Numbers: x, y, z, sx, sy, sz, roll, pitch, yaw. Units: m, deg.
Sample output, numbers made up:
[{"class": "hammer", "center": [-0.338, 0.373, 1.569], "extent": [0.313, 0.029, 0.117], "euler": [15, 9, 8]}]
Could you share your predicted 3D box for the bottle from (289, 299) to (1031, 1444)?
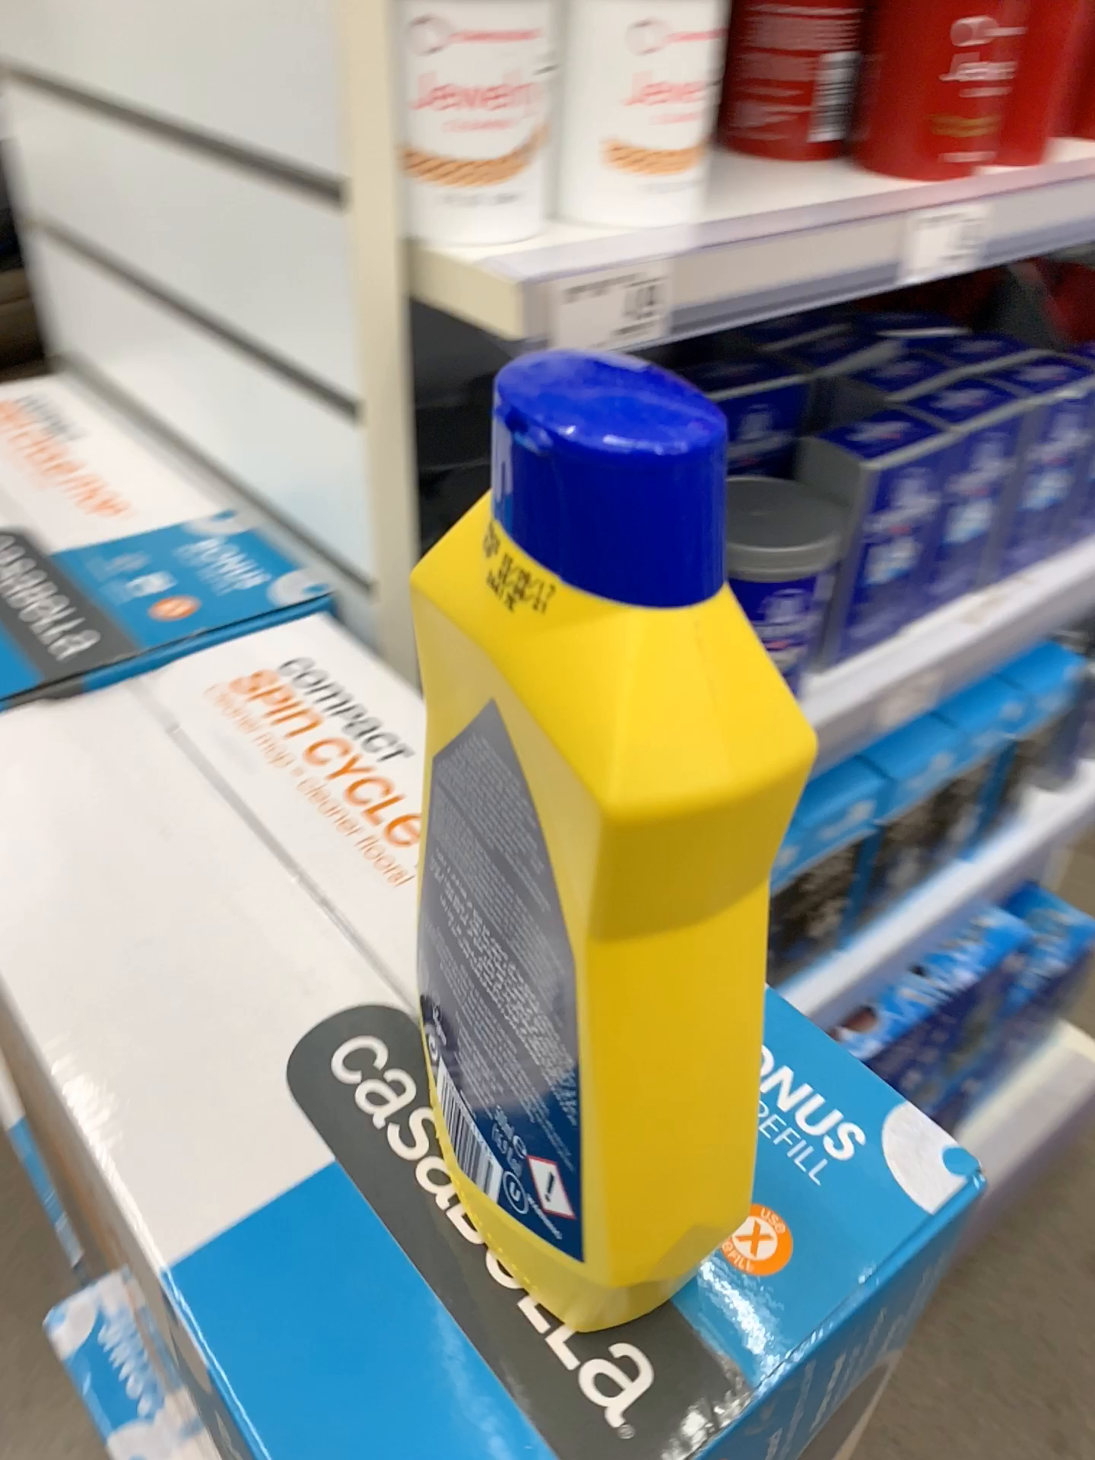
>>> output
[{"class": "bottle", "center": [0.006, 0.031, 0.218], "extent": [0.060, 0.189, 0.100], "euler": [-17, 40, -25]}]
